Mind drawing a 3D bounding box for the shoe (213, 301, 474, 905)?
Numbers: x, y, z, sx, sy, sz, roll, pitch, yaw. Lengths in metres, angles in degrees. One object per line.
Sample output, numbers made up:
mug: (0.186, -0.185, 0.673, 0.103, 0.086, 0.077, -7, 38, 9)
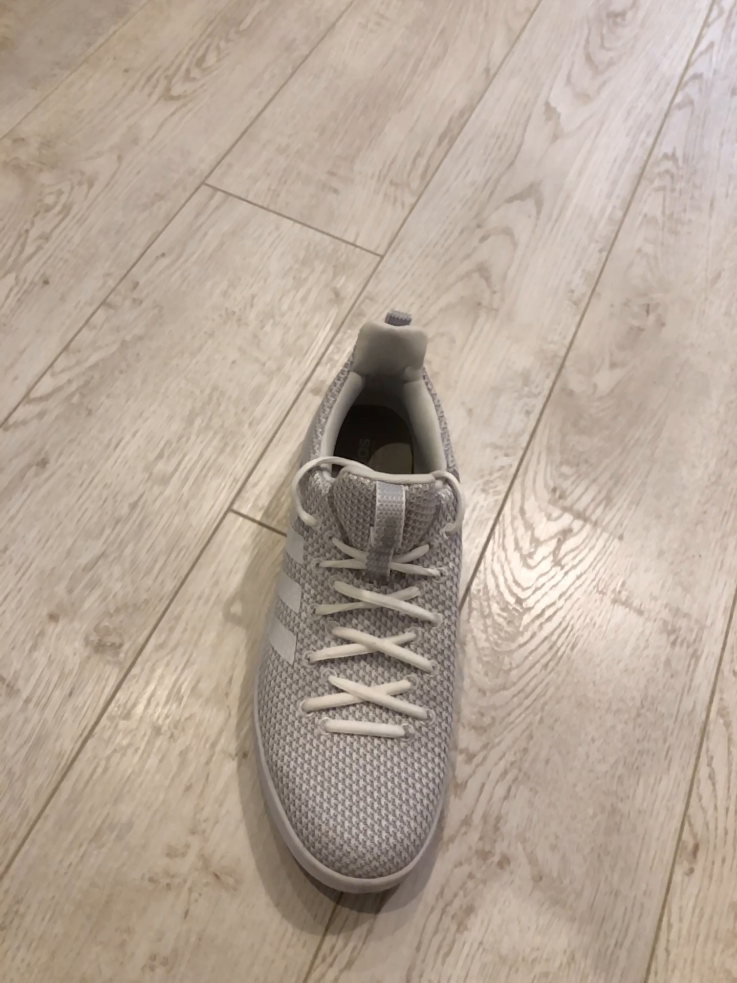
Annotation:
shoe: (-0.010, 0.052, 0.429, 0.100, 0.109, 0.291, 4, 62, -4)
